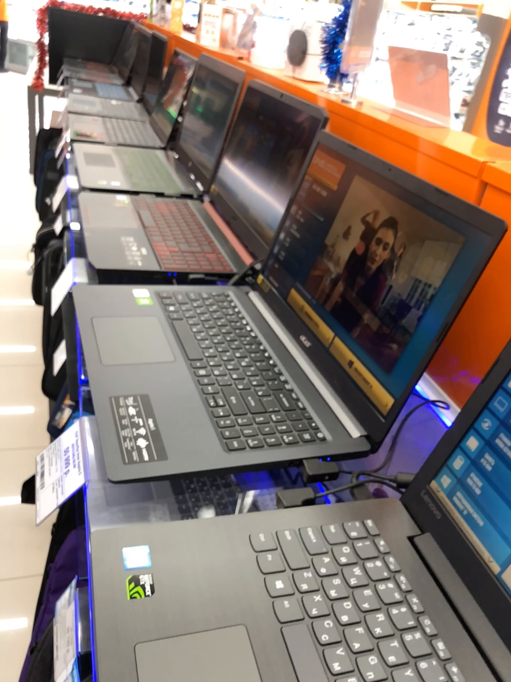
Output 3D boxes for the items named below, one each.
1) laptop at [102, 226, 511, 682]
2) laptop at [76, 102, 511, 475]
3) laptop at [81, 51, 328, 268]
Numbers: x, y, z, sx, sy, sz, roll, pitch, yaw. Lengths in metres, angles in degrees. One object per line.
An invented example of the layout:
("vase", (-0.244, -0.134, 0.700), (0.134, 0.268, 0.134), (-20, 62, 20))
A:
("laptop", (0.107, 0.120, 0.251), (0.322, 0.230, 0.350), (-1, 30, -19))
("laptop", (-0.013, -0.082, 0.596), (0.302, 0.224, 0.354), (-1, 30, -22))
("laptop", (-0.107, -0.295, 0.917), (0.301, 0.230, 0.310), (-3, 33, -23))
